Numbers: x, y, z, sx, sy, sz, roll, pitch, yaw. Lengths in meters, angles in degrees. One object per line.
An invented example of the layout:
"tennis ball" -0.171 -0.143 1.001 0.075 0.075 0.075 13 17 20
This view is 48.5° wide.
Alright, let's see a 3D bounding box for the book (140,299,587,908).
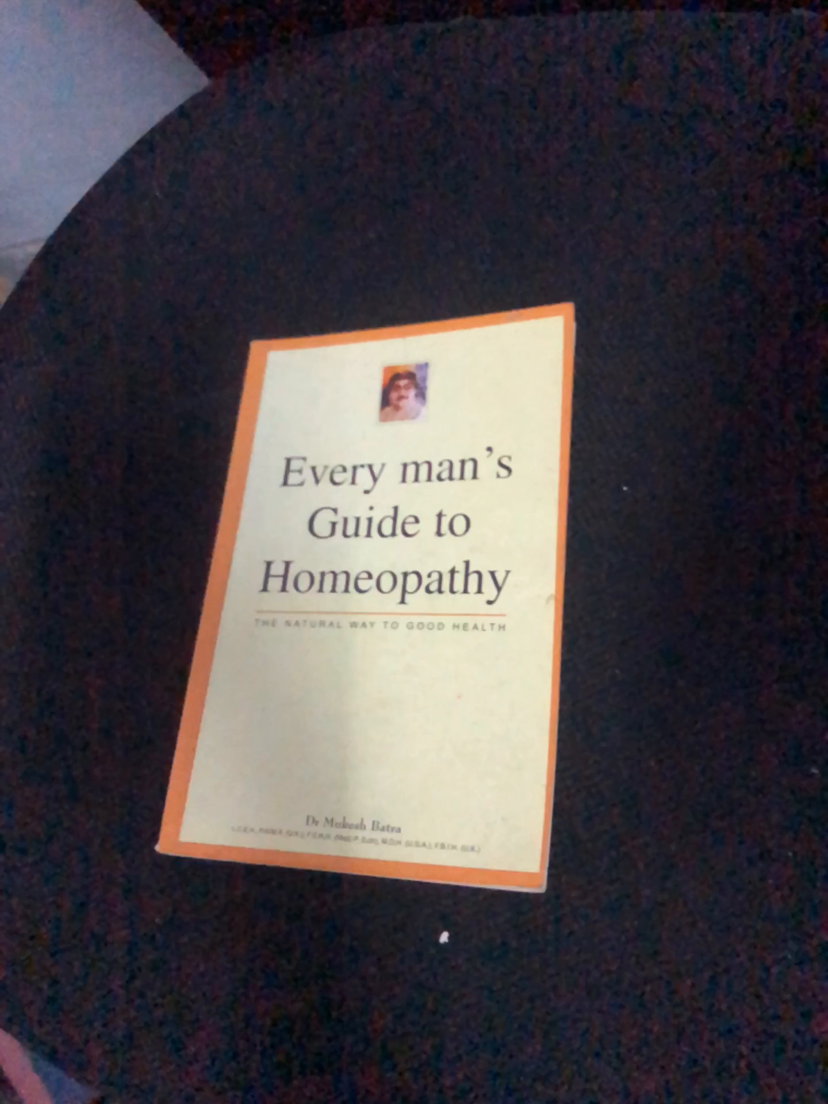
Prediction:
"book" -0.014 0.011 0.337 0.140 0.026 0.207 -1 70 21
